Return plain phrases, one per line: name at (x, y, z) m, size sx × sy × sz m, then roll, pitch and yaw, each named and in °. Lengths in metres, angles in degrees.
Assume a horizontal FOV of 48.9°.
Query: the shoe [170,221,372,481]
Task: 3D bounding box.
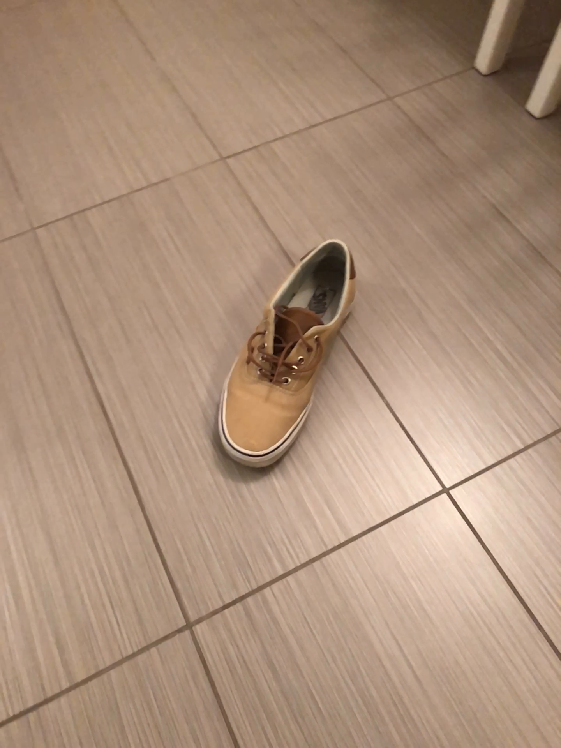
shoe at (0.001, -0.040, 0.739) m, size 0.110 × 0.070 × 0.311 m, roll 20°, pitch 61°, yaw 15°
